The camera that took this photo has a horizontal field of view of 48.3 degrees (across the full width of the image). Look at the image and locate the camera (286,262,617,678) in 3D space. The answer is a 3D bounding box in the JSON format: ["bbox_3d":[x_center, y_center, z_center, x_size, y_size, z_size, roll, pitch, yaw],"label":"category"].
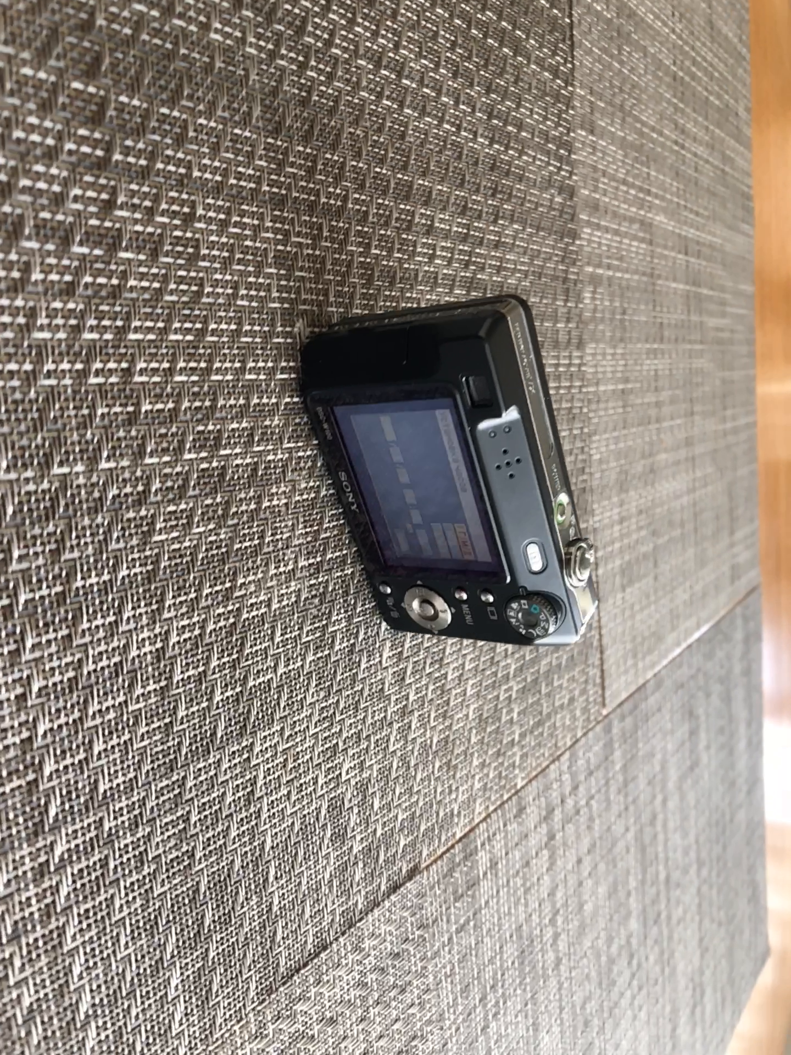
[{"bbox_3d":[0.020,-0.015,0.242,0.049,0.052,0.095,-45,126,-44],"label":"camera"}]
